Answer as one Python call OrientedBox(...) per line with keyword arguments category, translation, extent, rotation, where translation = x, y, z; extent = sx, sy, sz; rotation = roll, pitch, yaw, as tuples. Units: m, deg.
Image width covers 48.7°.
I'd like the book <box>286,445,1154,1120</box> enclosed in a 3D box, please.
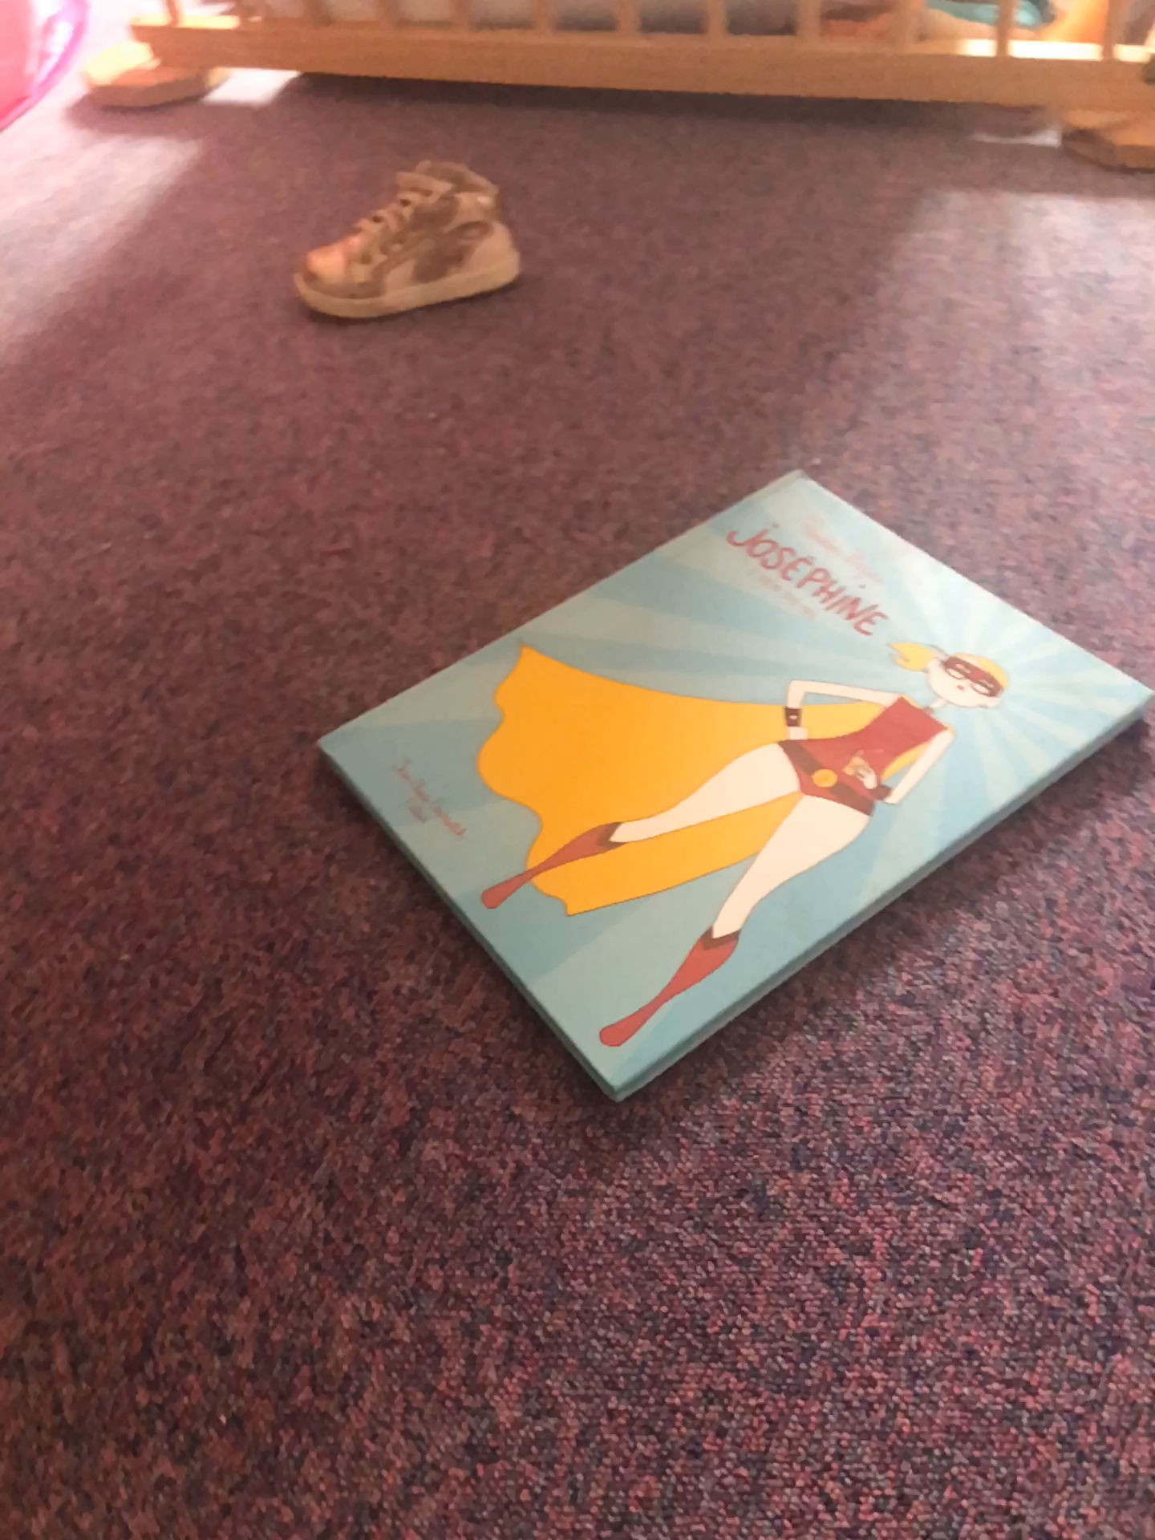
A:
OrientedBox(category="book", translation=(0.061, -0.024, 0.566), extent=(0.307, 0.020, 0.234), rotation=(-31, 52, -20))
